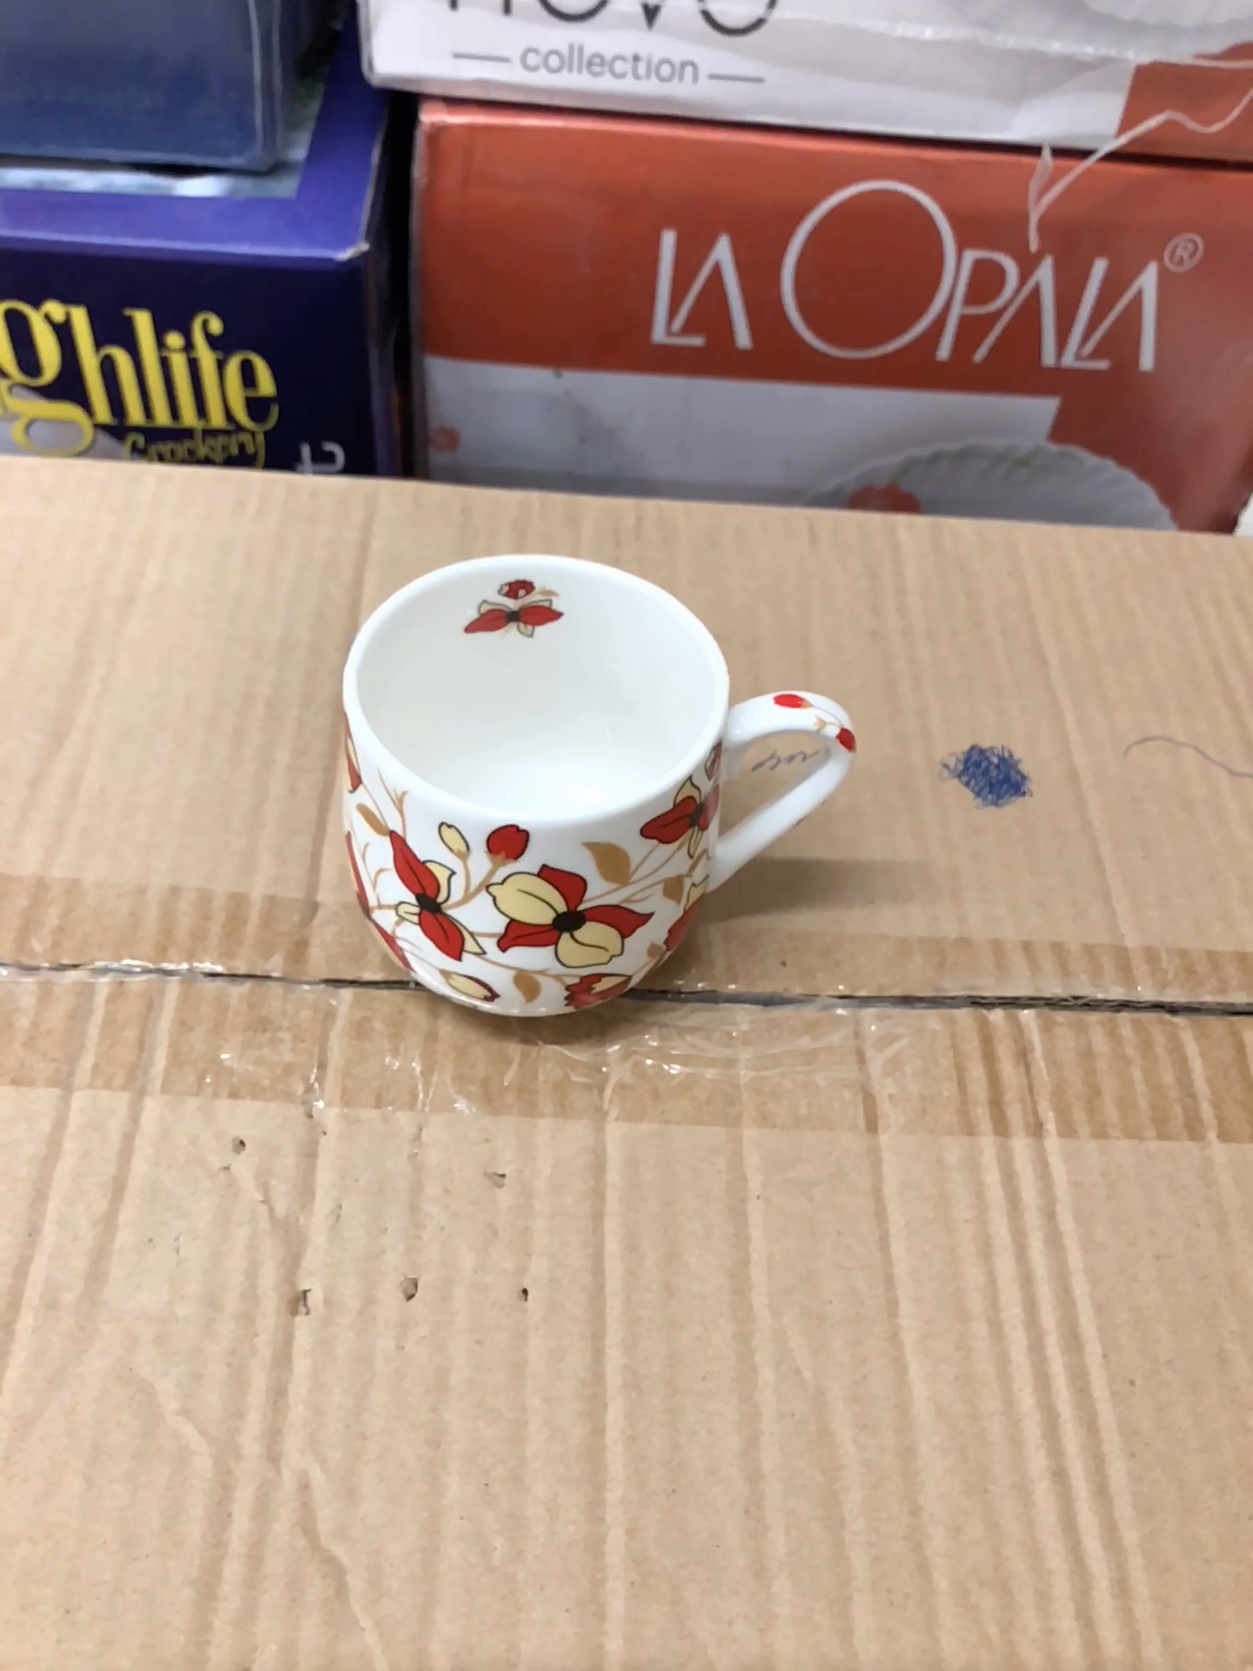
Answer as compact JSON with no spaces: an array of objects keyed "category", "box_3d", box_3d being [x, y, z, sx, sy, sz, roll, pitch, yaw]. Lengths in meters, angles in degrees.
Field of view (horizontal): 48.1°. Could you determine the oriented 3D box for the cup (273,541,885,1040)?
[{"category":"cup","box_3d":[-0.009,-0.007,0.249,0.090,0.060,0.060,2,49,-4]}]
